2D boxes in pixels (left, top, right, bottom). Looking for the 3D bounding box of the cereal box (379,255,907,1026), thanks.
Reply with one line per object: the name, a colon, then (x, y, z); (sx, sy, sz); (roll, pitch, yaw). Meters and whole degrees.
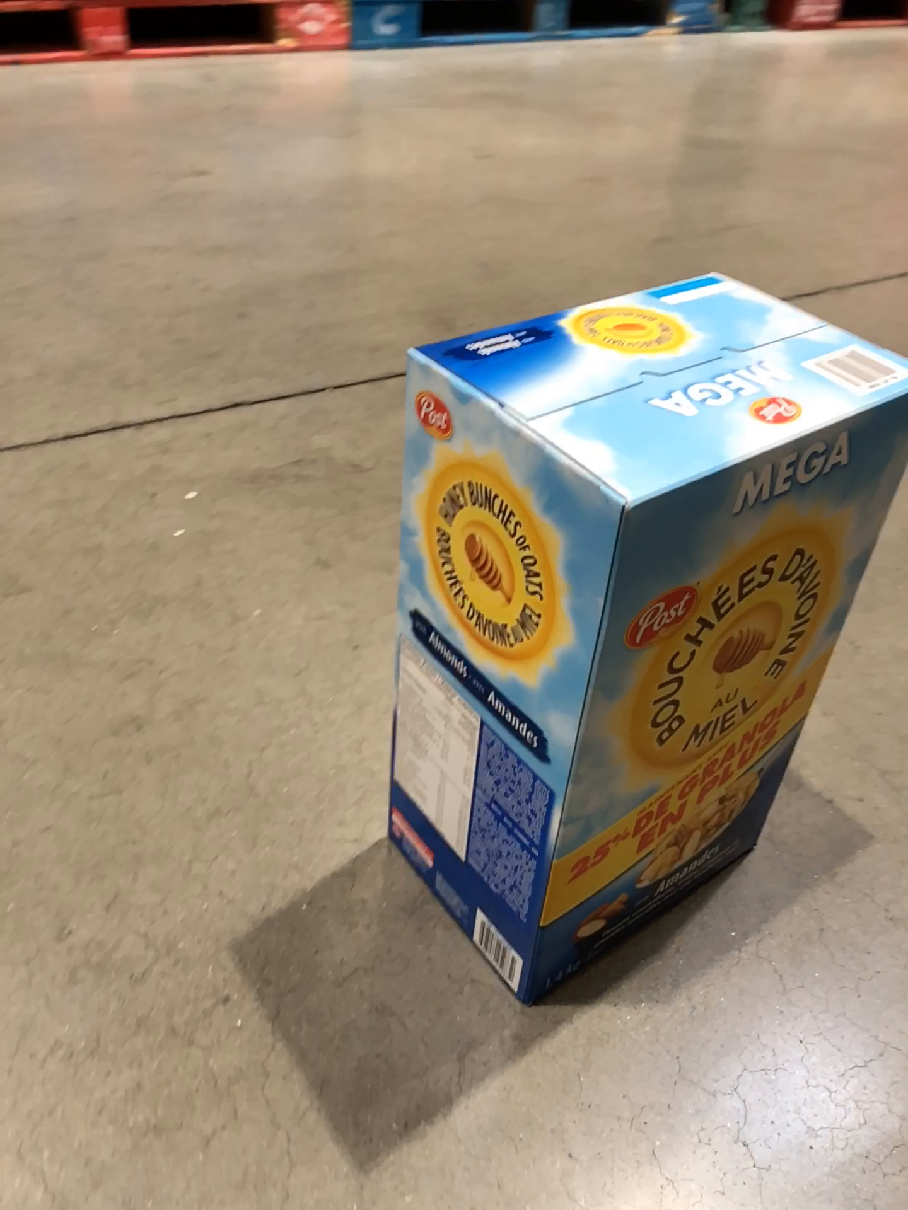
cereal box: (0.092, 0.021, 0.529); (0.210, 0.329, 0.150); (-23, 47, -30)
